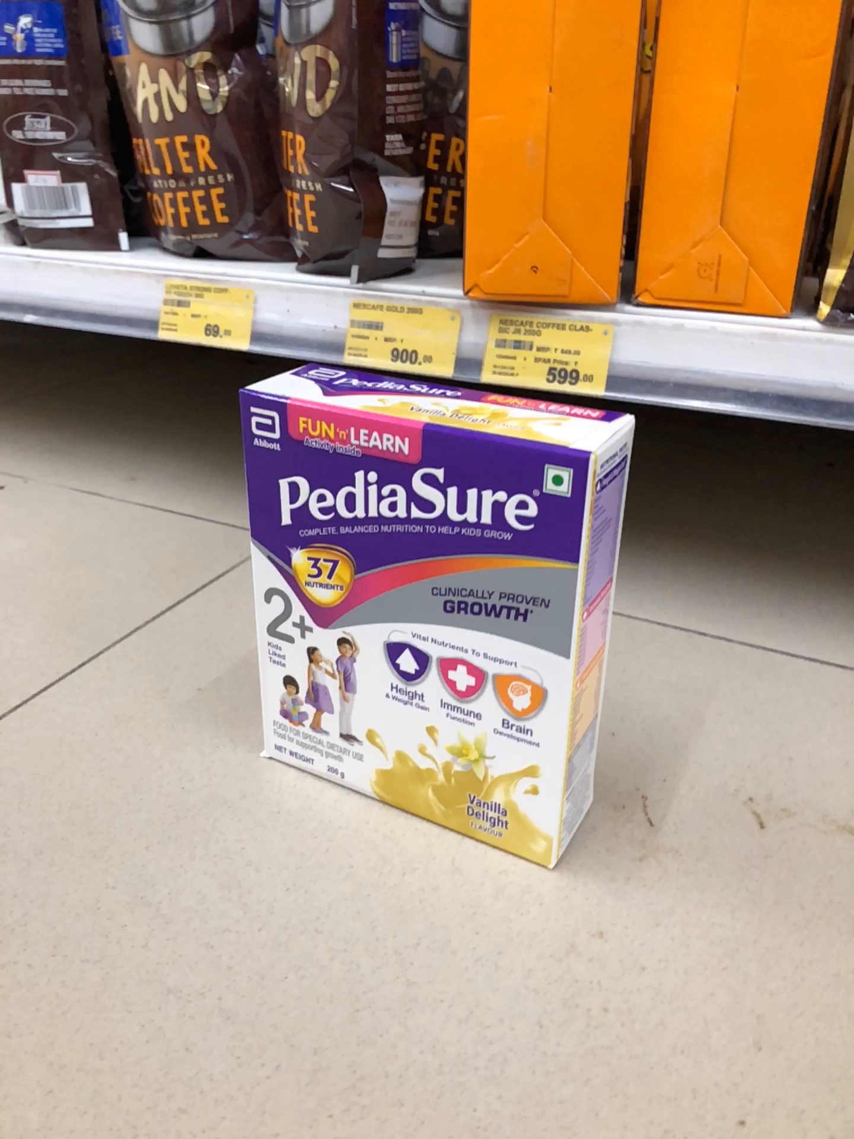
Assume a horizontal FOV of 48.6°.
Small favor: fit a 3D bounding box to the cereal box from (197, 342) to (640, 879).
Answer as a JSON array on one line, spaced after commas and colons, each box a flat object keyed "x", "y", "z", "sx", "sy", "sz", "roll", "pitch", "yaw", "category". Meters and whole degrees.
[{"x": -0.007, "y": 0.010, "z": 0.346, "sx": 0.140, "sy": 0.159, "sz": 0.050, "roll": 15, "pitch": 28, "yaw": 26, "category": "cereal box"}]
